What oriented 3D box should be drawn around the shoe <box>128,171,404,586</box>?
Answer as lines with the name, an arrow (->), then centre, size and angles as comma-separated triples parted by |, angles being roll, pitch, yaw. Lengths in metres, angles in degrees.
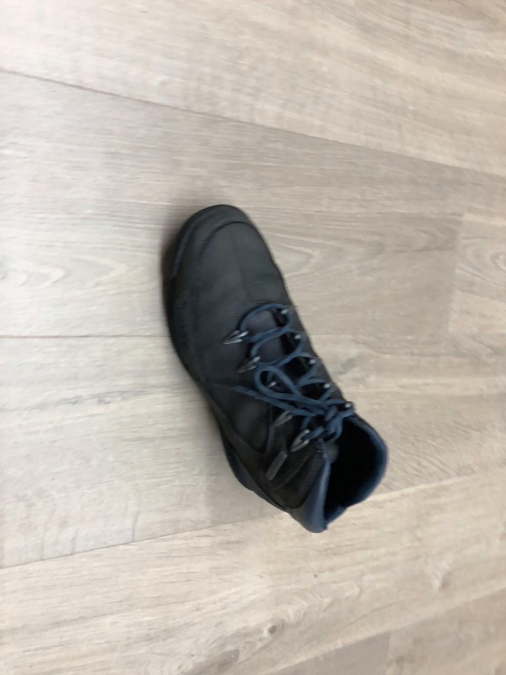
shoe -> 0.014, 0.028, 0.459 | 0.110, 0.130, 0.290 | -24, 111, -24
